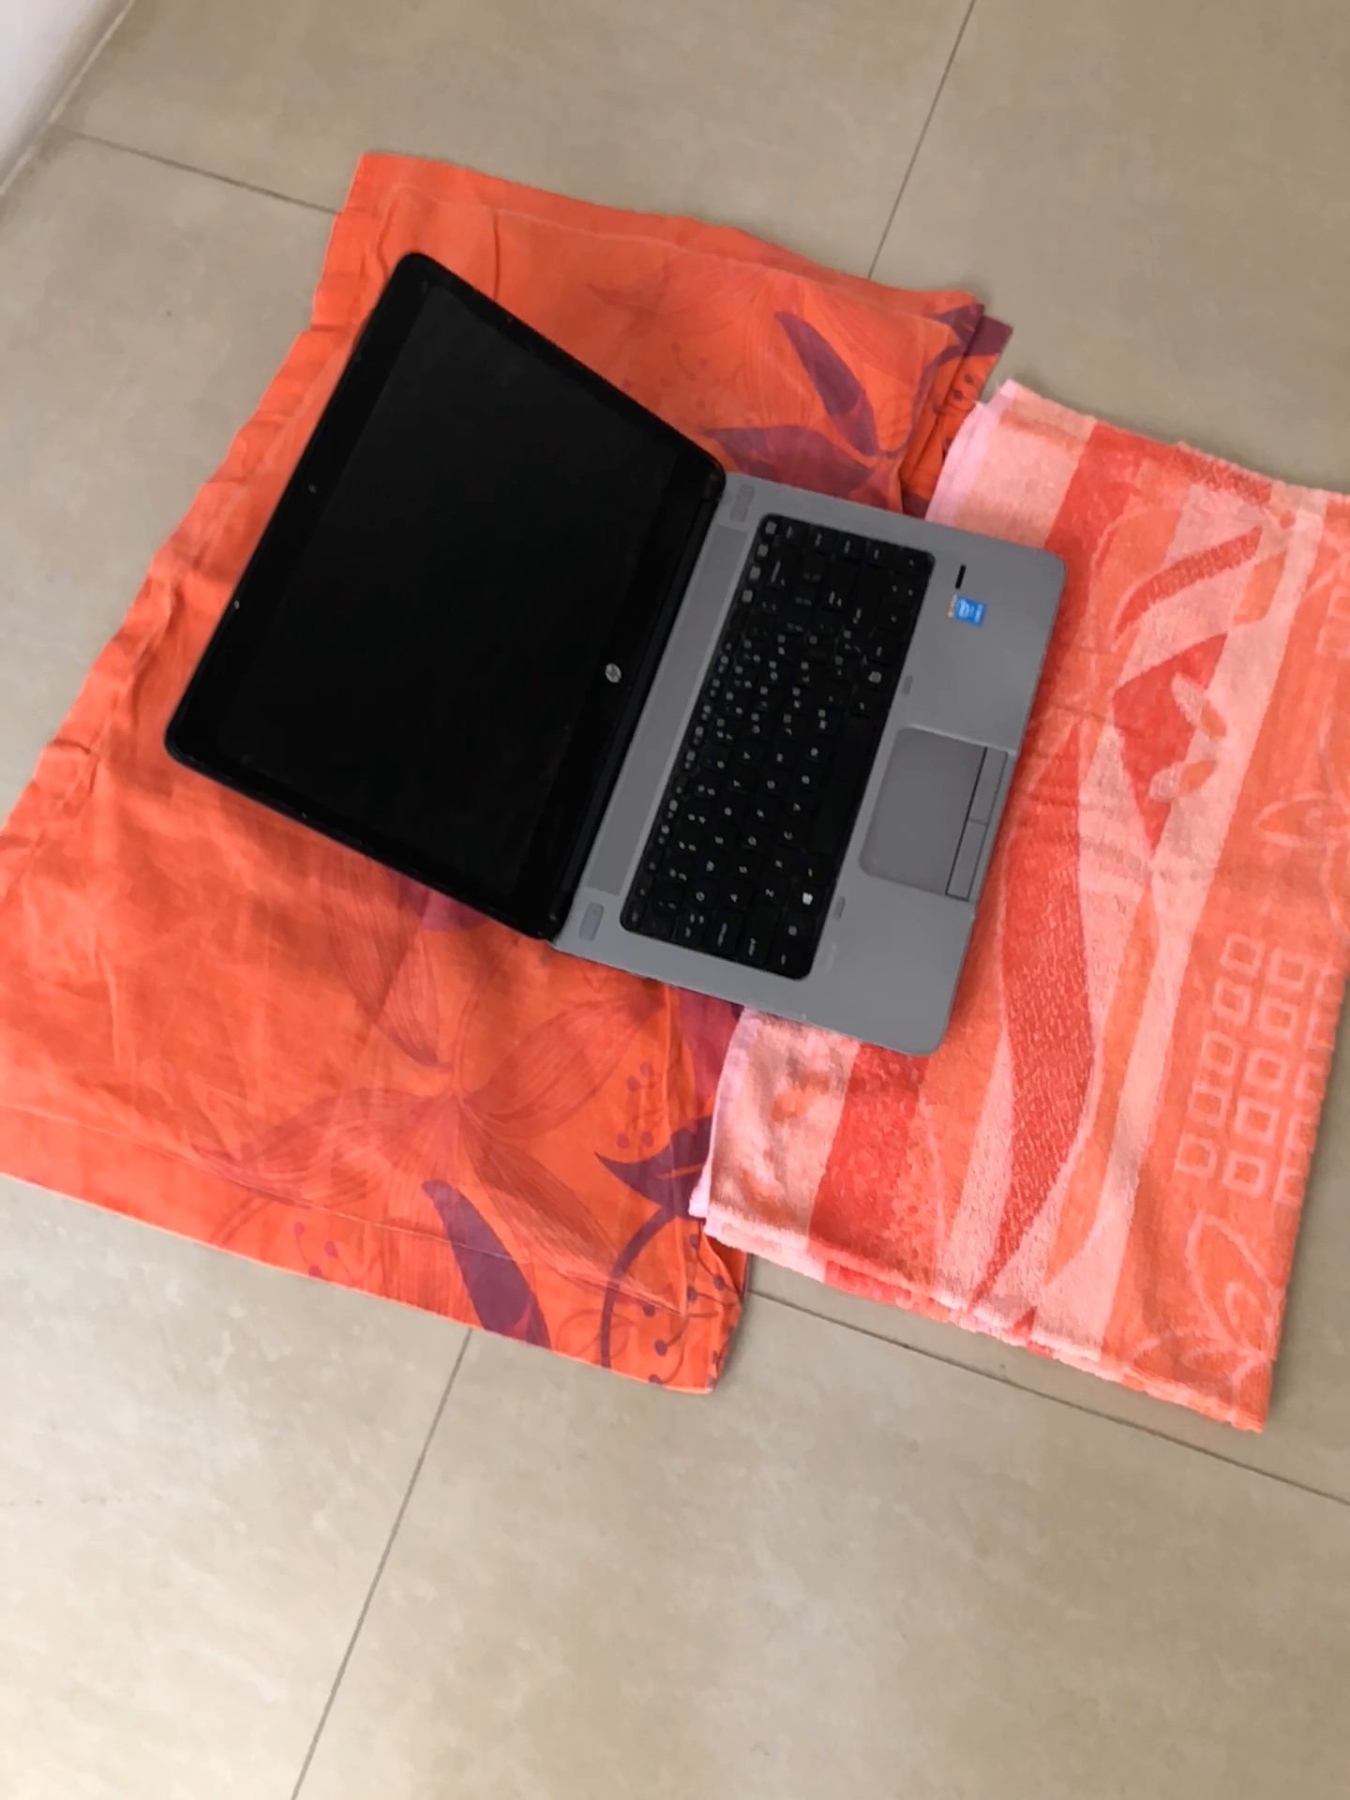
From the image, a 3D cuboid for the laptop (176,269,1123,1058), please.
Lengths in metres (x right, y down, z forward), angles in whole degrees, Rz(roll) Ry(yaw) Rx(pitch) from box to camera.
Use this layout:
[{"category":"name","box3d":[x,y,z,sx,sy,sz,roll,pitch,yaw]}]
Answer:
[{"category":"laptop","box3d":[-0.004,-0.139,0.826,0.410,0.111,0.329,17,69,6]}]
